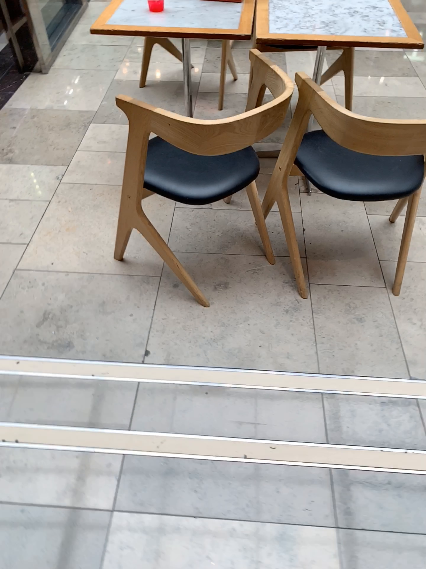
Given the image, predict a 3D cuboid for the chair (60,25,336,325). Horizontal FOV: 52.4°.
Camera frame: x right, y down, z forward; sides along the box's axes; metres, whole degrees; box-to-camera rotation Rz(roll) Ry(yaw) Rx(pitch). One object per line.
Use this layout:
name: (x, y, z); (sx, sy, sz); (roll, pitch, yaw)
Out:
chair: (-0.041, -0.390, 1.540); (0.645, 0.708, 0.502); (-33, 56, -26)

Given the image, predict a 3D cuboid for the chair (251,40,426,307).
chair: (0.505, -0.368, 1.526); (0.633, 0.718, 0.534); (-3, 48, -2)
